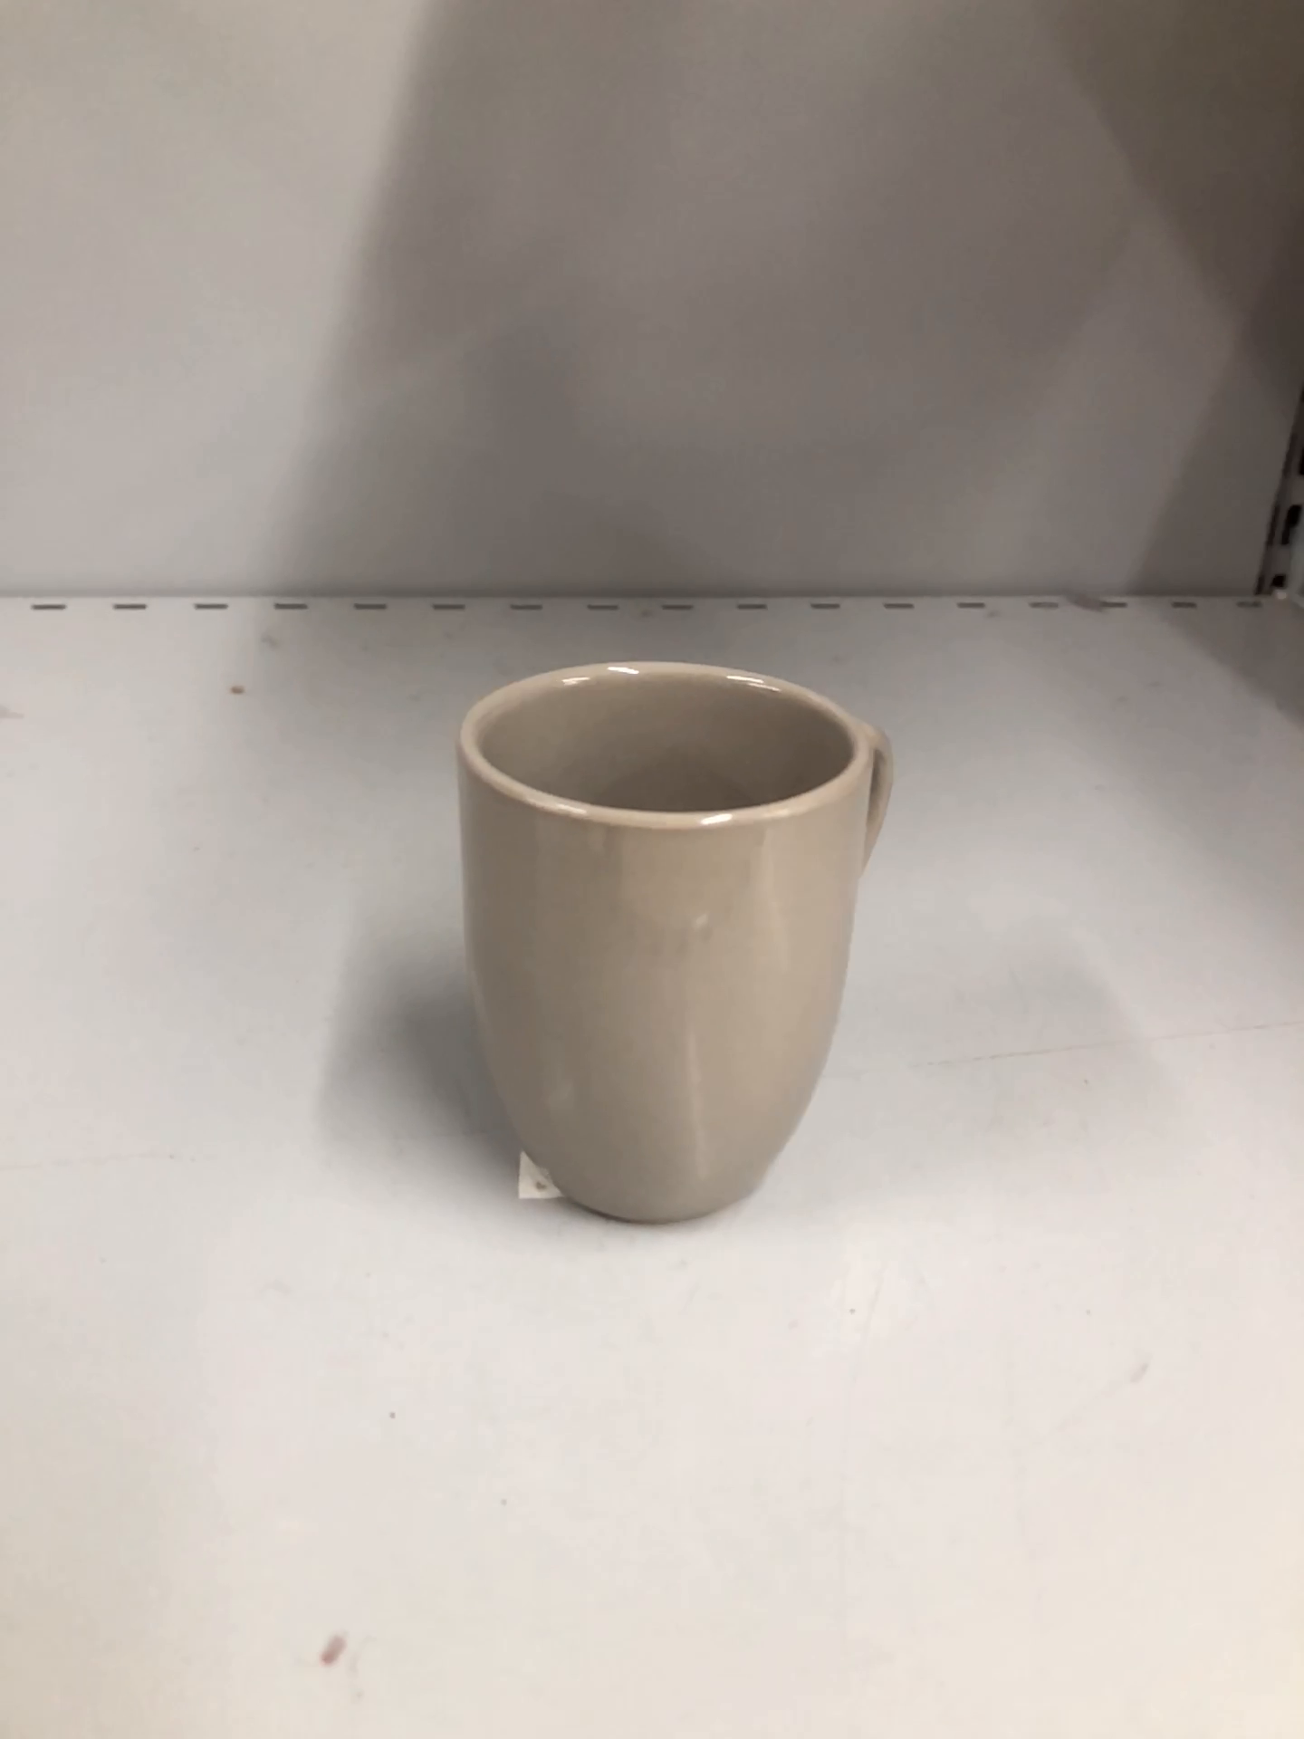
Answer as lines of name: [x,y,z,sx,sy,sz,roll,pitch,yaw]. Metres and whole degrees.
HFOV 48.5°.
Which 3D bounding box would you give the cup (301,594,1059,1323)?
cup: [0.006,0.005,0.222,0.064,0.062,0.092,25,36,35]
